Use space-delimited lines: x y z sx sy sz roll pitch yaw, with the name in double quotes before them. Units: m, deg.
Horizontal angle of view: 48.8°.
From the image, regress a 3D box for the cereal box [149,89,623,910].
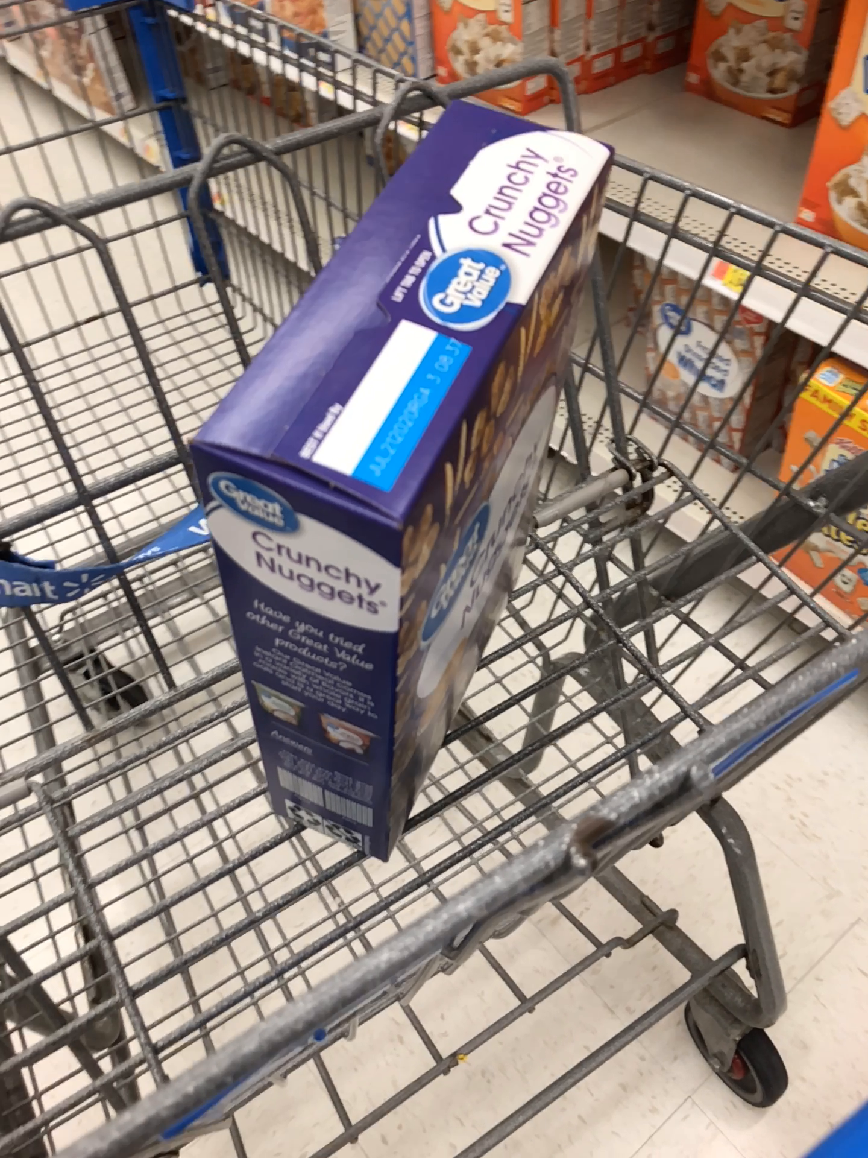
"cereal box" -0.008 -0.011 0.343 0.060 0.240 0.170 19 55 10
